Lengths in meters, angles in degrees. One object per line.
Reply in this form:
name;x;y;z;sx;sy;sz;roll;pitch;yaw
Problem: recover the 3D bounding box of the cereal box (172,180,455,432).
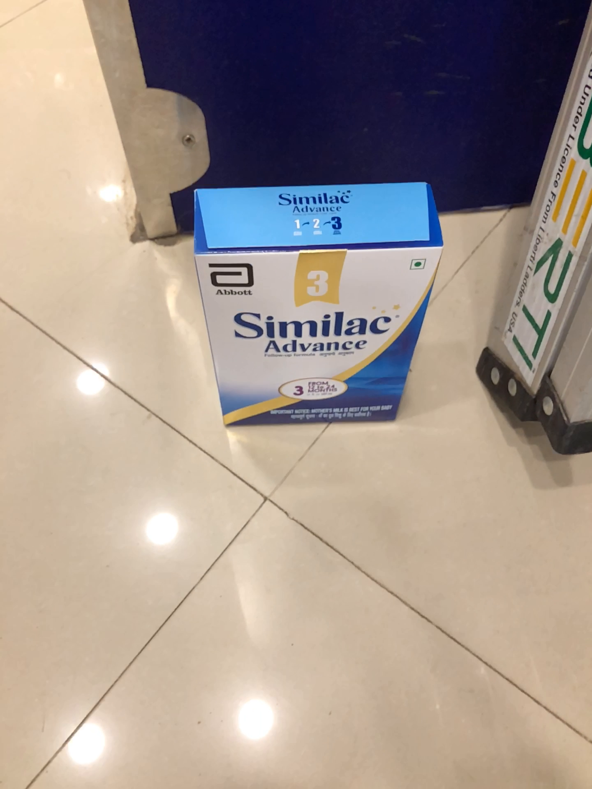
cereal box;0.007;-0.043;0.425;0.140;0.199;0.050;-2;62;-2
